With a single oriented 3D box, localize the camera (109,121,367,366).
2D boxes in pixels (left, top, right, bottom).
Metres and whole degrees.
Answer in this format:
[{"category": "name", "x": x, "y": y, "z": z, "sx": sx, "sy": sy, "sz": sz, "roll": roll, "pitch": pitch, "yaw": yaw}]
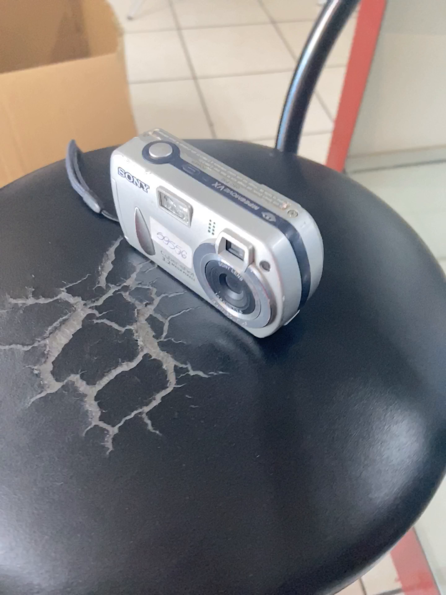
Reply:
[{"category": "camera", "x": 0.002, "y": -0.026, "z": 0.202, "sx": 0.100, "sy": 0.050, "sz": 0.040, "roll": 37, "pitch": 60, "yaw": 24}]
